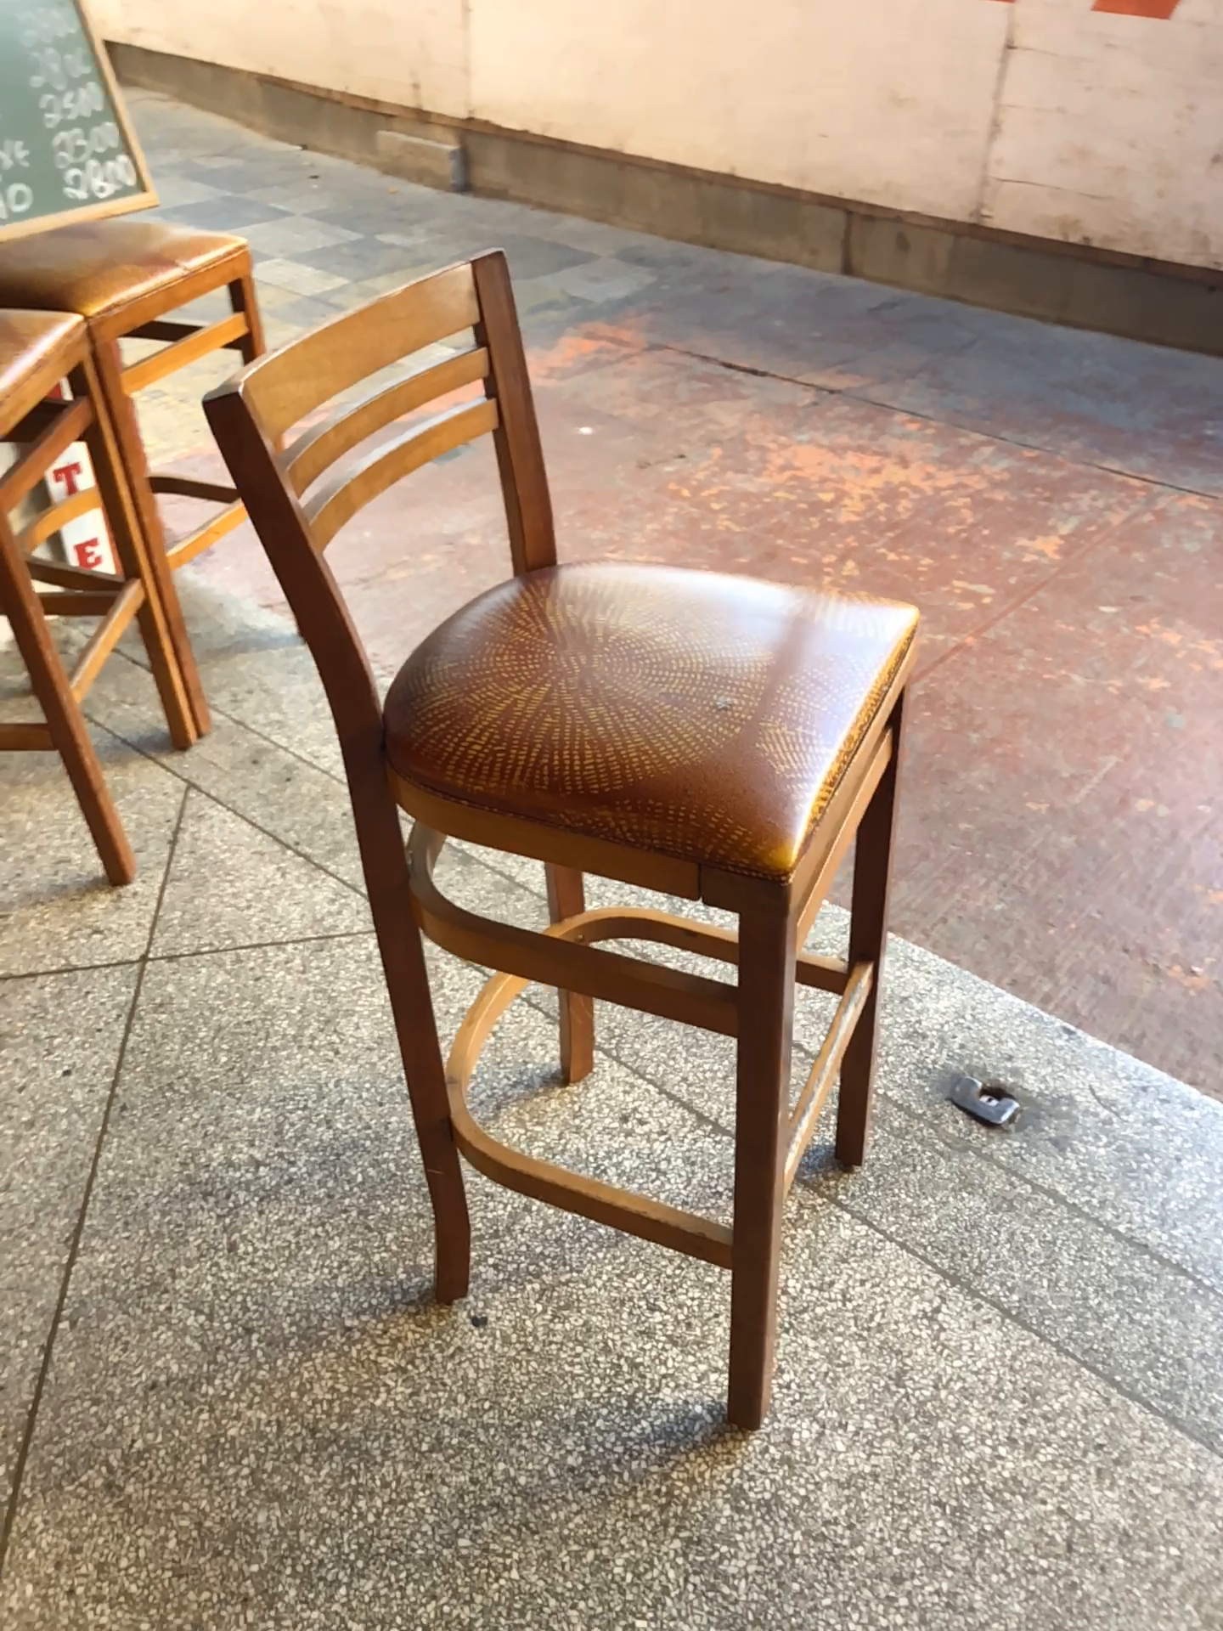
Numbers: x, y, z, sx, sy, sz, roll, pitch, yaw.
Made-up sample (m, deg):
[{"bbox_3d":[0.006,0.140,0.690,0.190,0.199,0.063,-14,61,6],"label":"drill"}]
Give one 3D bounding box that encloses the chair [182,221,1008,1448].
[{"bbox_3d":[0.023,0.051,1.205,0.430,0.973,0.403,15,40,21],"label":"chair"}]
